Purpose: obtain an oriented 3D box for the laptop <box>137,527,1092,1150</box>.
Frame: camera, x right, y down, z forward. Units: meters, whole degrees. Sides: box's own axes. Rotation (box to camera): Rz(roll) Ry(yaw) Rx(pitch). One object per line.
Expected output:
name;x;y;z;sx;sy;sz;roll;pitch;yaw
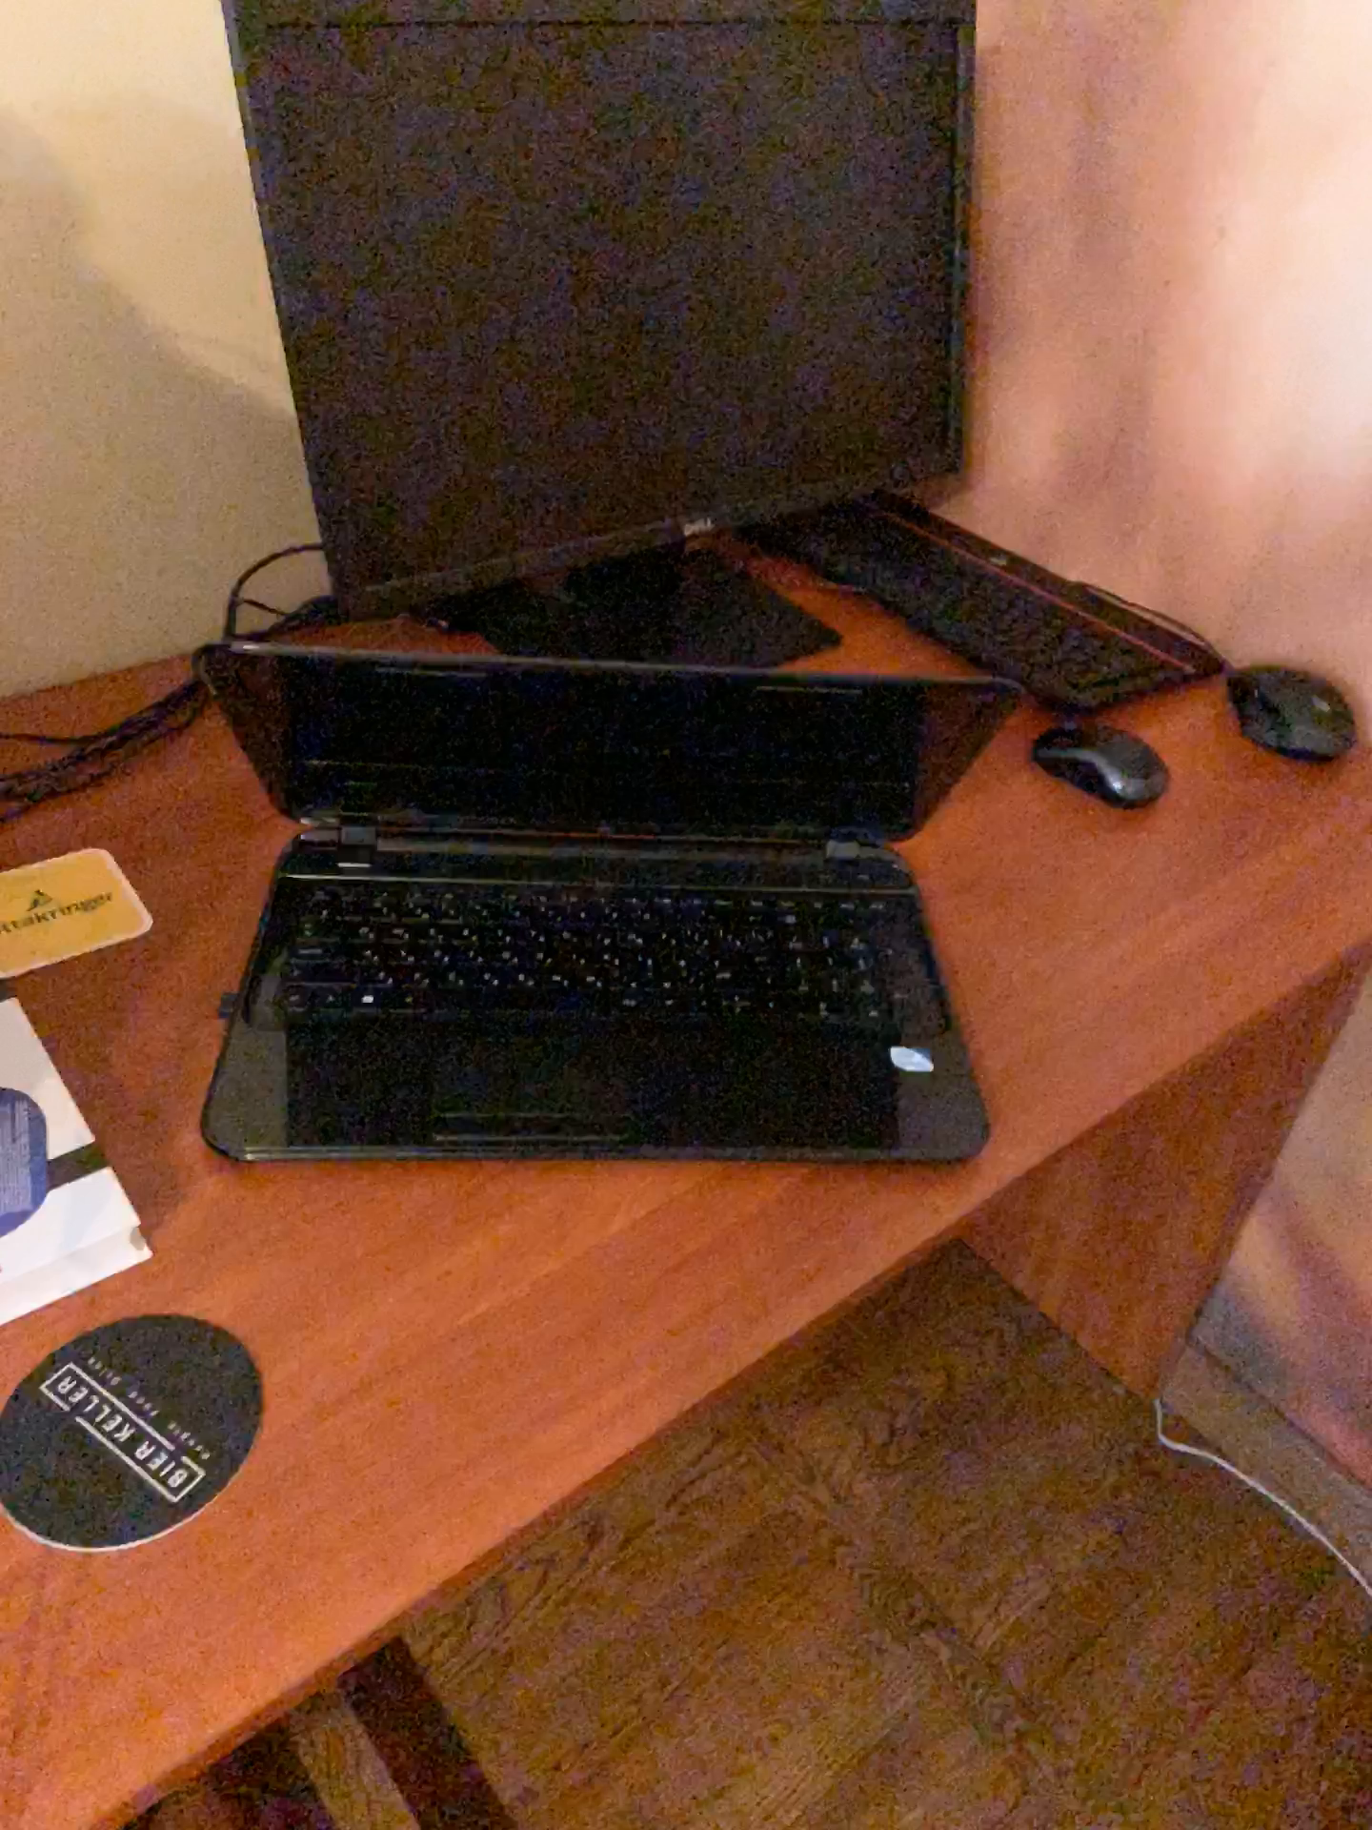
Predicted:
laptop;-0.036;-0.043;0.694;0.369;0.194;0.245;1;38;-5
